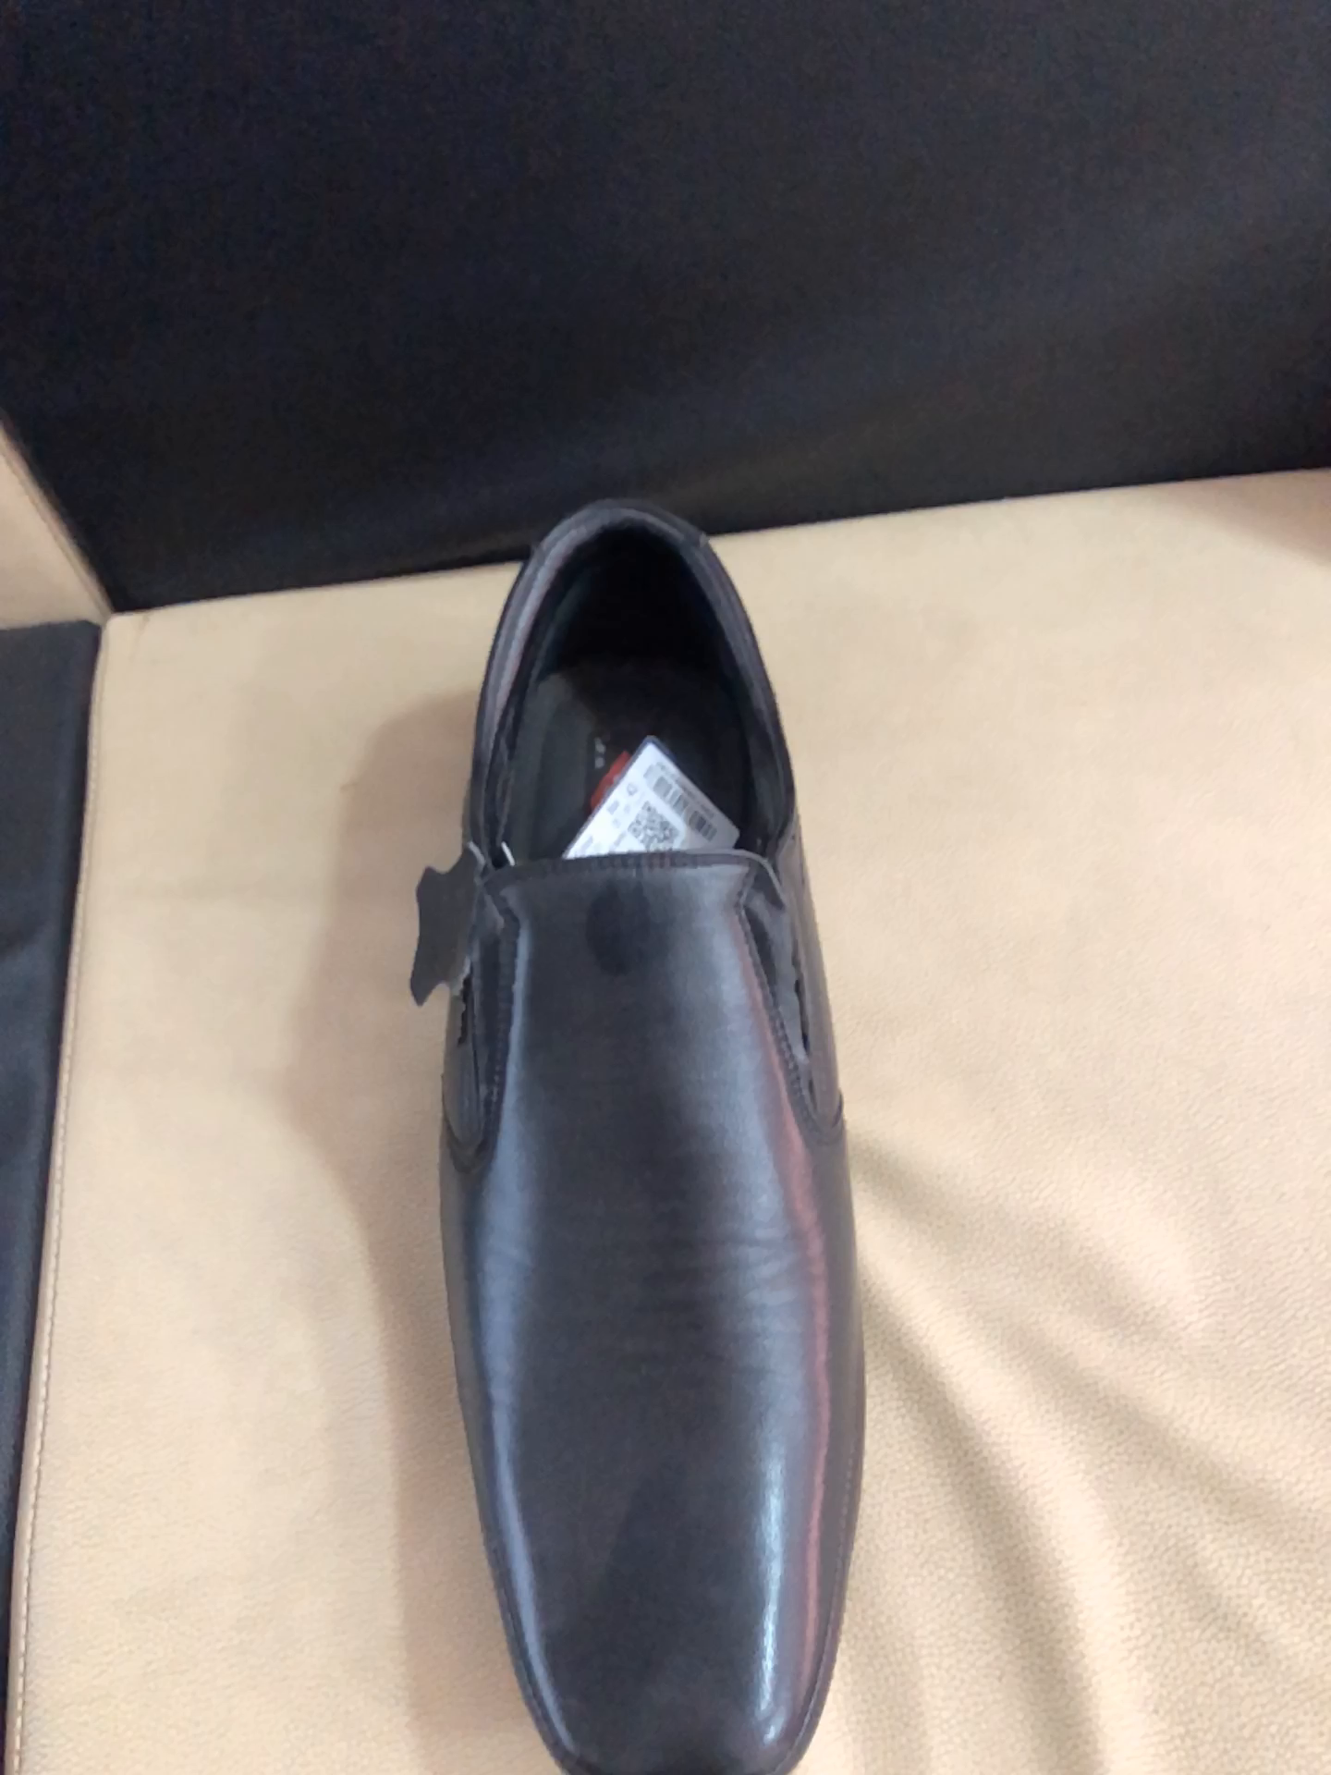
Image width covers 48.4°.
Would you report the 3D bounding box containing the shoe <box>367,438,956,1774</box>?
[{"bbox_3d":[-0.007,0.043,0.367,0.100,0.090,0.320,-5,61,2],"label":"shoe"}]
